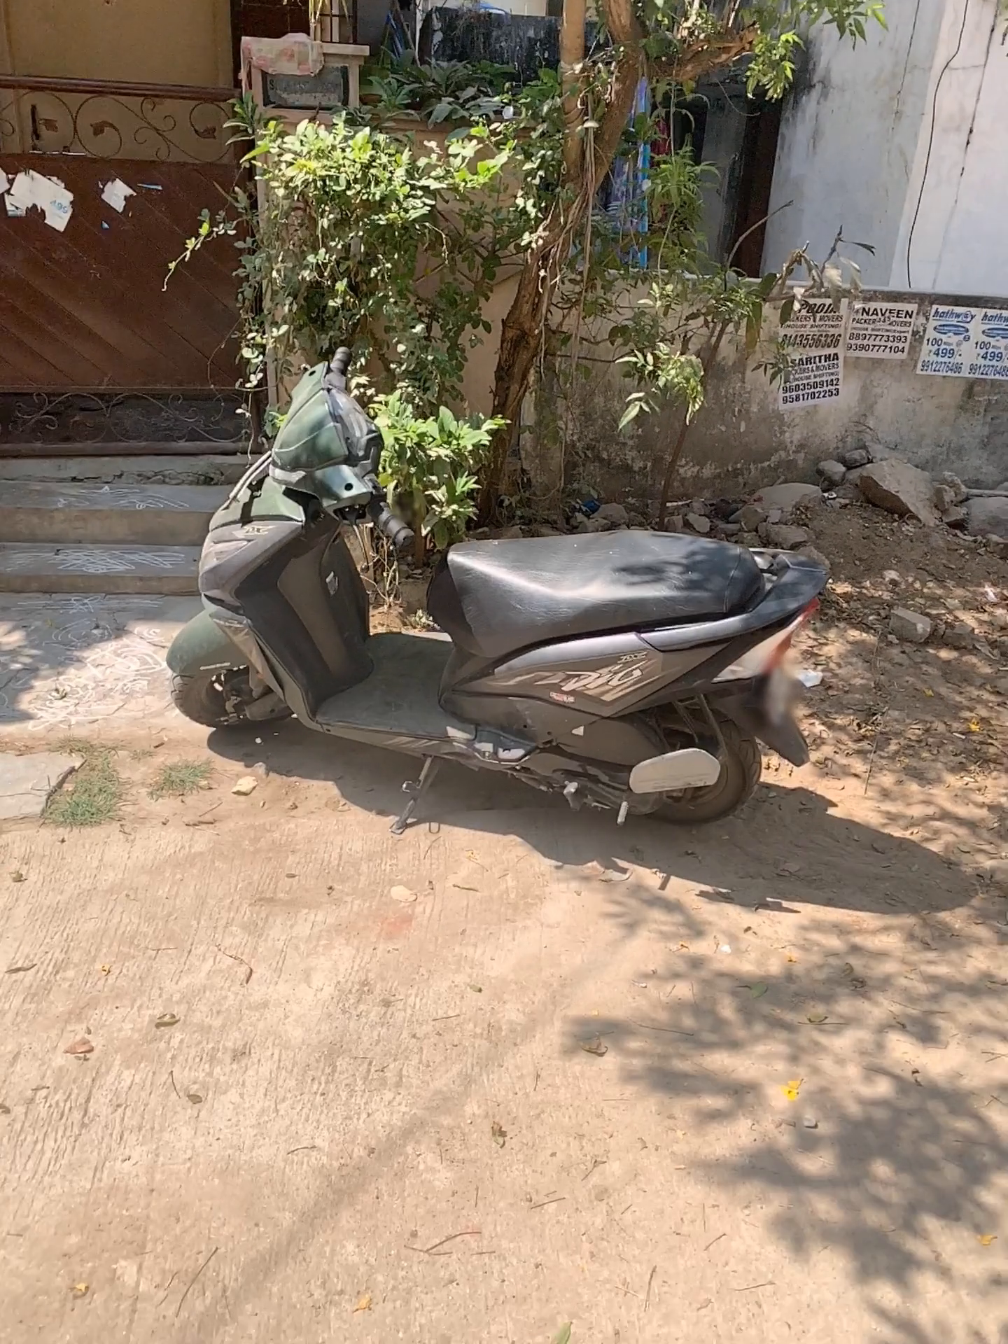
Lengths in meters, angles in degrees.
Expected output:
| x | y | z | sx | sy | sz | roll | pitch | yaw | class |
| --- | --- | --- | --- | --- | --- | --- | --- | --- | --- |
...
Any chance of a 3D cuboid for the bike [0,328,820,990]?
| x | y | z | sx | sy | sz | roll | pitch | yaw | class |
| --- | --- | --- | --- | --- | --- | --- | --- | --- | --- |
| -0.165 | -0.066 | 2.355 | 1.528 | 1.175 | 0.626 | 8 | 26 | 8 | bike |
